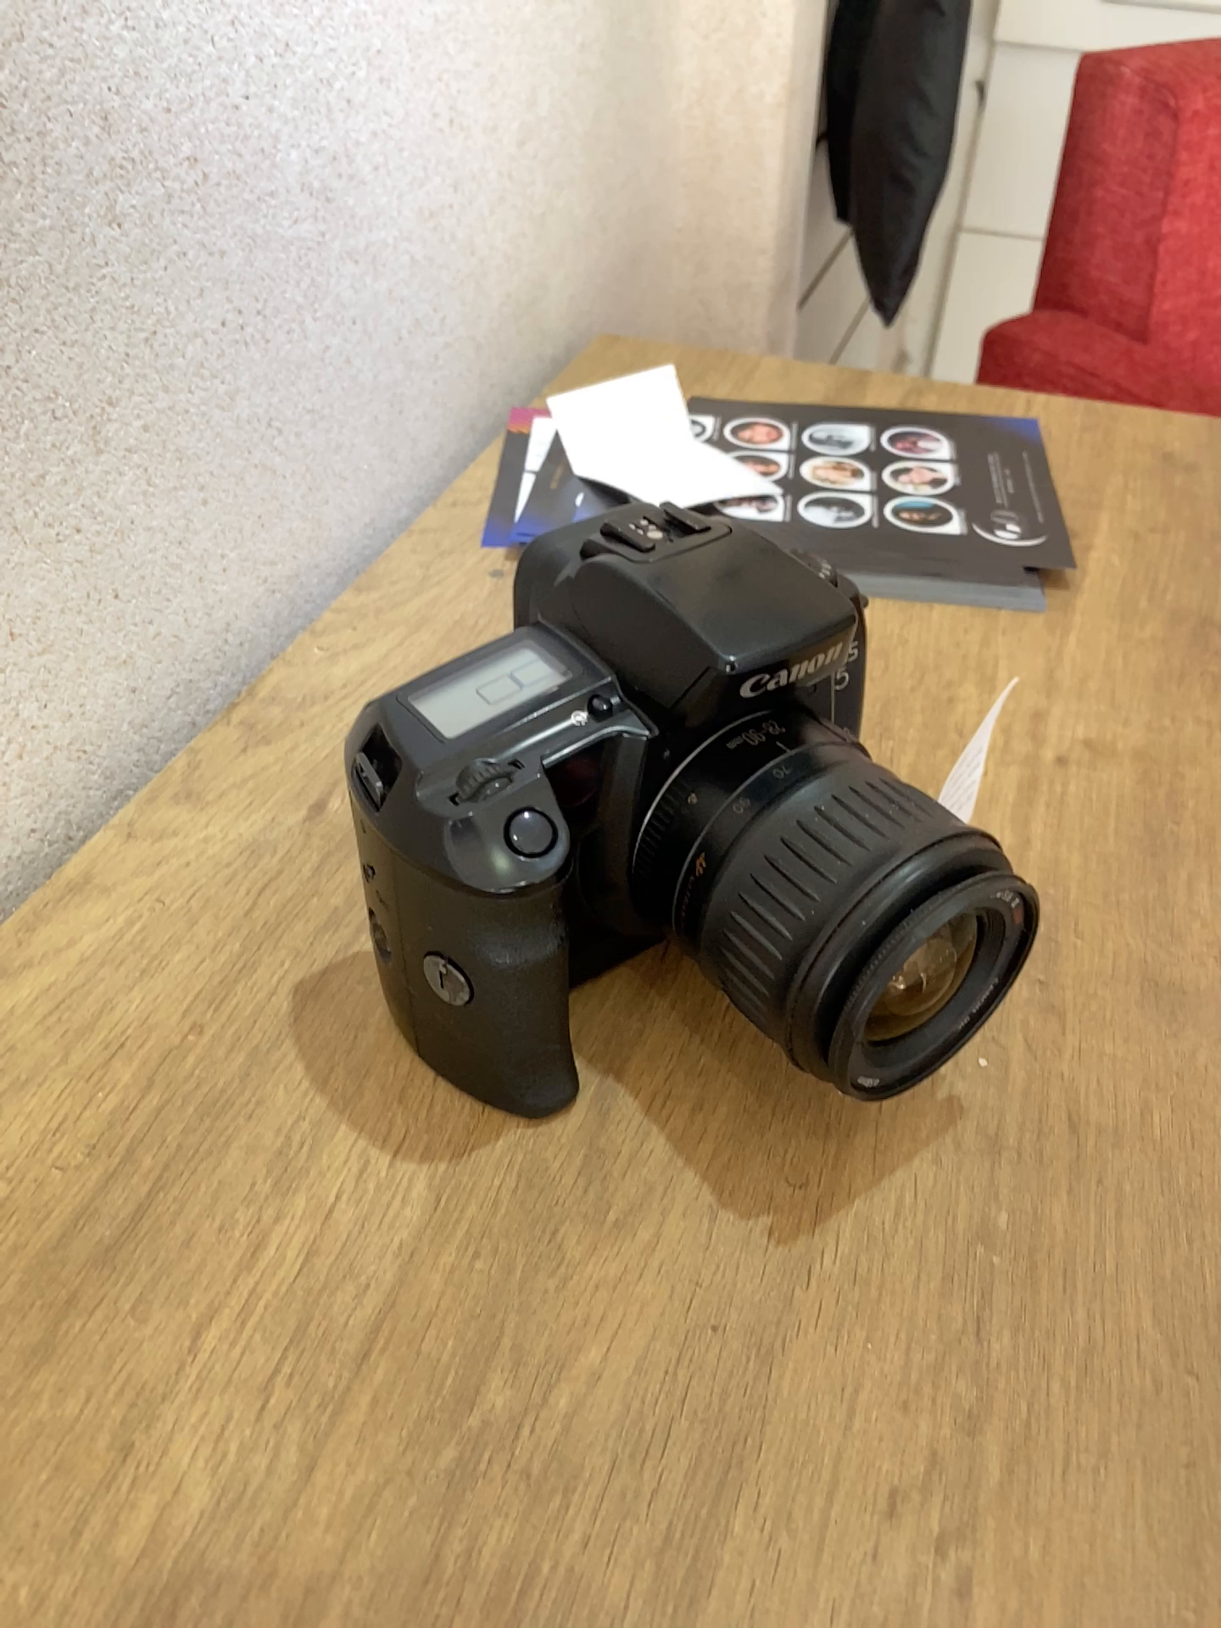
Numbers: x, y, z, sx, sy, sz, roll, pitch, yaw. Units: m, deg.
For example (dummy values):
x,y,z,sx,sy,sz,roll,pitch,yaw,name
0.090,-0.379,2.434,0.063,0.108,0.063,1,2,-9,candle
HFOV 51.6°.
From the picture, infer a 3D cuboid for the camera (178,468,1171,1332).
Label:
x,y,z,sx,sy,sz,roll,pitch,yaw,name
0.010,-0.001,0.330,0.161,0.080,0.181,-28,47,-30,camera
